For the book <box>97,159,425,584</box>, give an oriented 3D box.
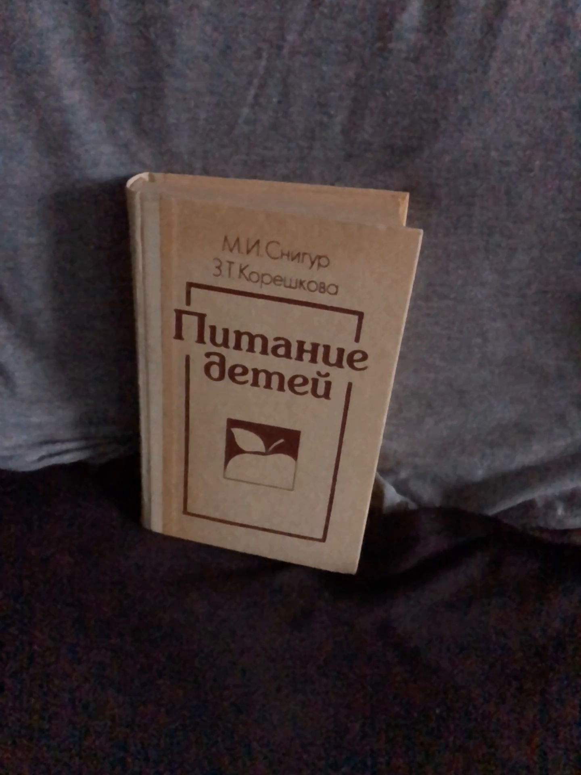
[{"bbox_3d":[-0.017,0.000,0.350,0.144,0.219,0.041,9,32,9],"label":"book"}]
